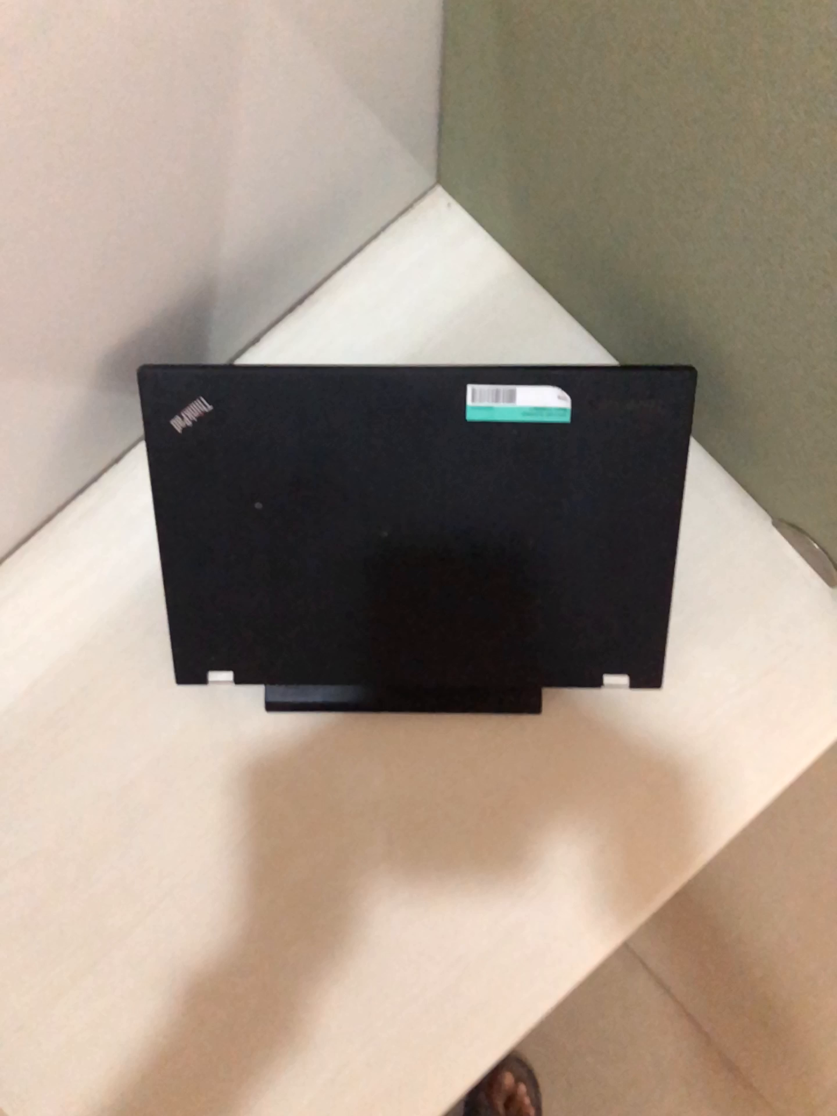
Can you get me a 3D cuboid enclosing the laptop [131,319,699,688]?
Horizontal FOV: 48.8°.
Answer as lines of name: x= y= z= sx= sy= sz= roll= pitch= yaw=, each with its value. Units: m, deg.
laptop: x=-0.001 y=-0.028 z=0.653 sx=0.354 sy=0.140 sz=0.232 roll=0 pitch=84 yaw=2
